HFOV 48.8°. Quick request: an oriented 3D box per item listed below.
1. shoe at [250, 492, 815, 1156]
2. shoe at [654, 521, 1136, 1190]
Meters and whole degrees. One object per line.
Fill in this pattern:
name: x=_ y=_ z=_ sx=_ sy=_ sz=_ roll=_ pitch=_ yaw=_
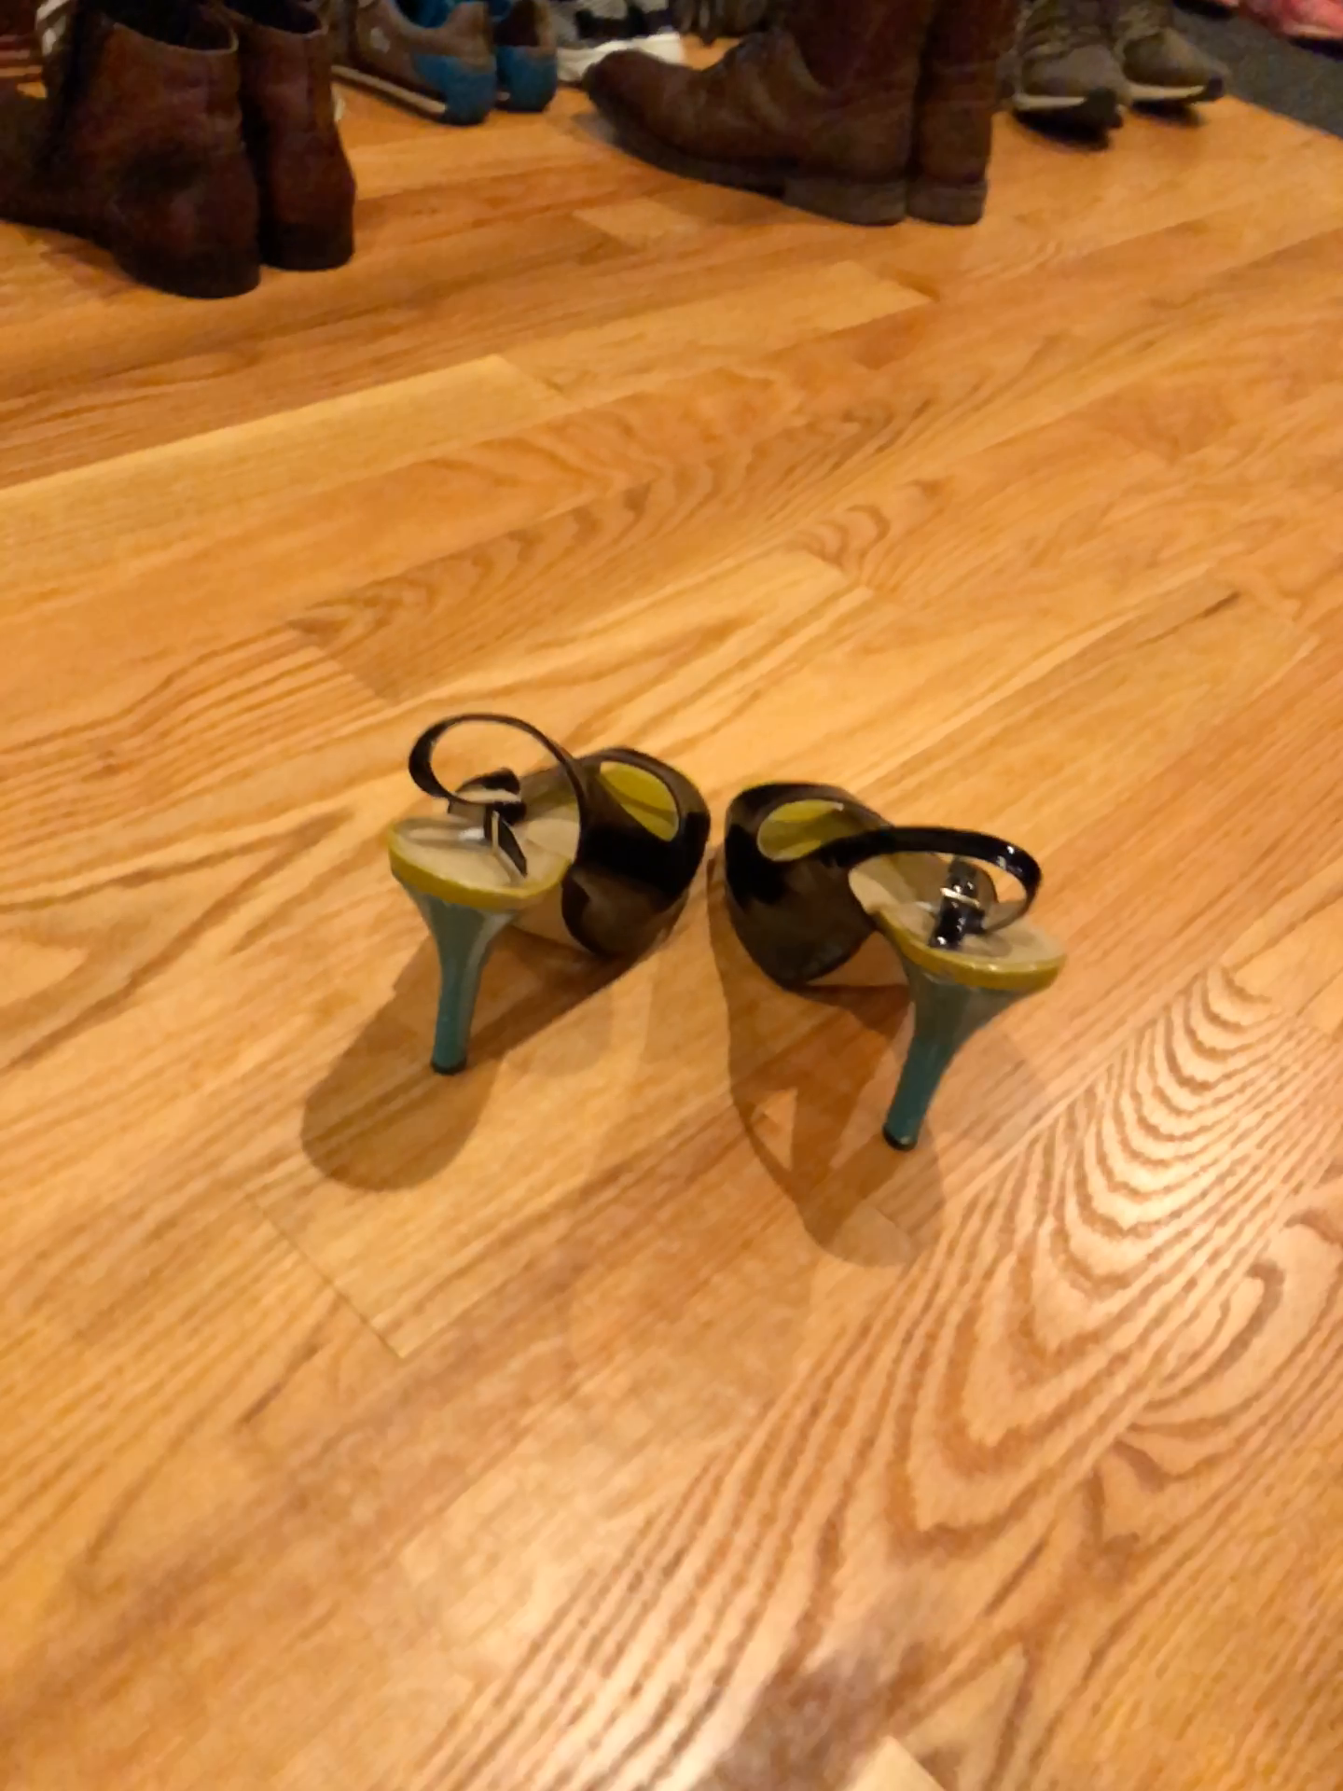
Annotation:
shoe: x=-0.043 y=-0.034 z=0.518 sx=0.085 sy=0.121 sz=0.205 roll=26 pitch=44 yaw=15
shoe: x=0.063 y=-0.021 z=0.527 sx=0.085 sy=0.131 sz=0.202 roll=-1 pitch=44 yaw=-14
